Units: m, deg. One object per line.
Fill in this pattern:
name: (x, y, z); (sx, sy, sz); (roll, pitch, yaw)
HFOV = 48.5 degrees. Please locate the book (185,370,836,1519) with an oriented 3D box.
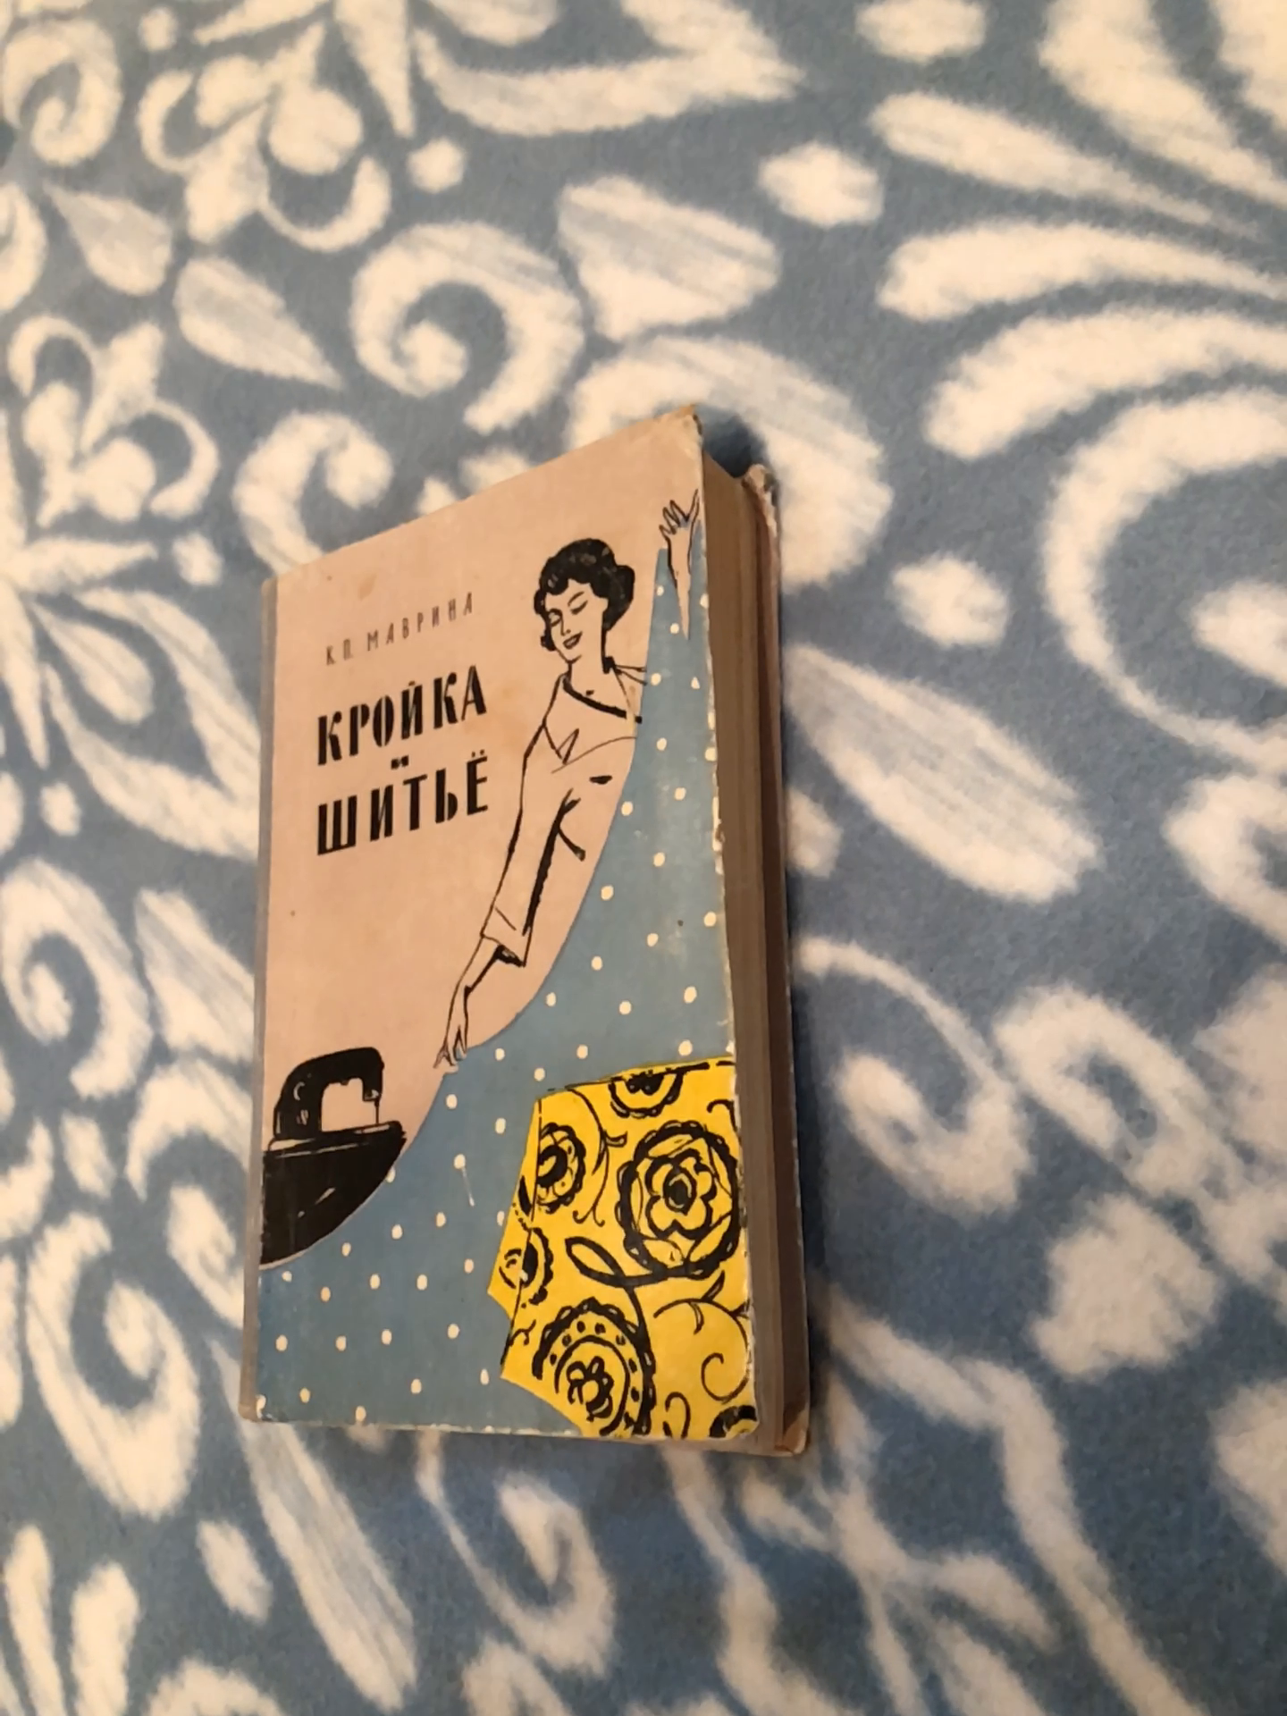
book: (-0.037, 0.021, 0.338); (0.152, 0.037, 0.231); (-12, 70, 34)
